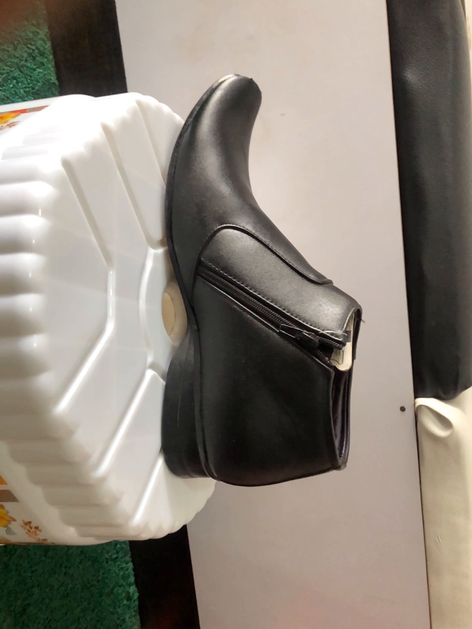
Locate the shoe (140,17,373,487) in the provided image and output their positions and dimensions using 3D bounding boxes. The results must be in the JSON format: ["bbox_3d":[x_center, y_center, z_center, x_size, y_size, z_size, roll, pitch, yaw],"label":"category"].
[{"bbox_3d":[0.026,-0.036,0.389,0.121,0.119,0.310,41,48,-63],"label":"shoe"}]
